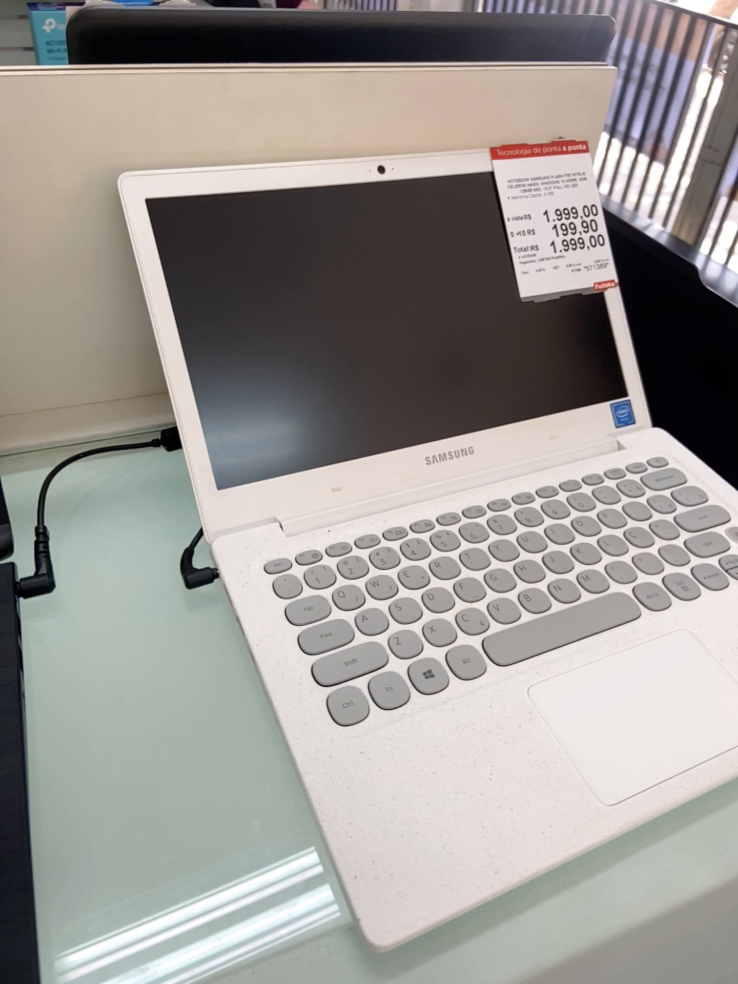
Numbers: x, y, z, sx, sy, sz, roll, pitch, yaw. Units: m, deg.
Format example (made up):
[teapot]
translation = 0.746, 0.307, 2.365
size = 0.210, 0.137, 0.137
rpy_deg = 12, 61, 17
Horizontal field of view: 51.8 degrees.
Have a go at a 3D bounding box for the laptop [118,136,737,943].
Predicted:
[laptop]
translation = 0.074, -0.045, 0.398
size = 0.315, 0.140, 0.361
rpy_deg = -13, 45, -21
